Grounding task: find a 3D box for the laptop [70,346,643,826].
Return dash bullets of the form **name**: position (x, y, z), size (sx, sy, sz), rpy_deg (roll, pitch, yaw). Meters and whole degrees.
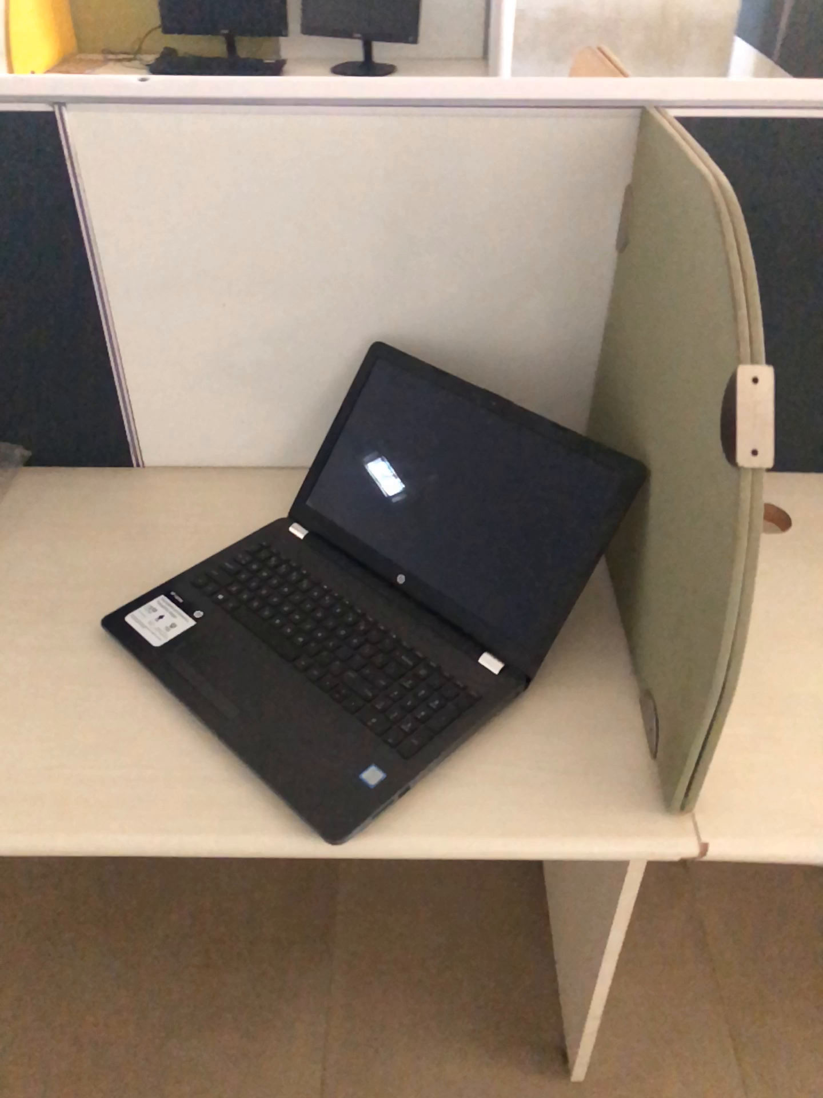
- **laptop**: position (-0.050, -0.006, 0.900), size (0.366, 0.167, 0.395), rpy_deg (31, 48, 33)
